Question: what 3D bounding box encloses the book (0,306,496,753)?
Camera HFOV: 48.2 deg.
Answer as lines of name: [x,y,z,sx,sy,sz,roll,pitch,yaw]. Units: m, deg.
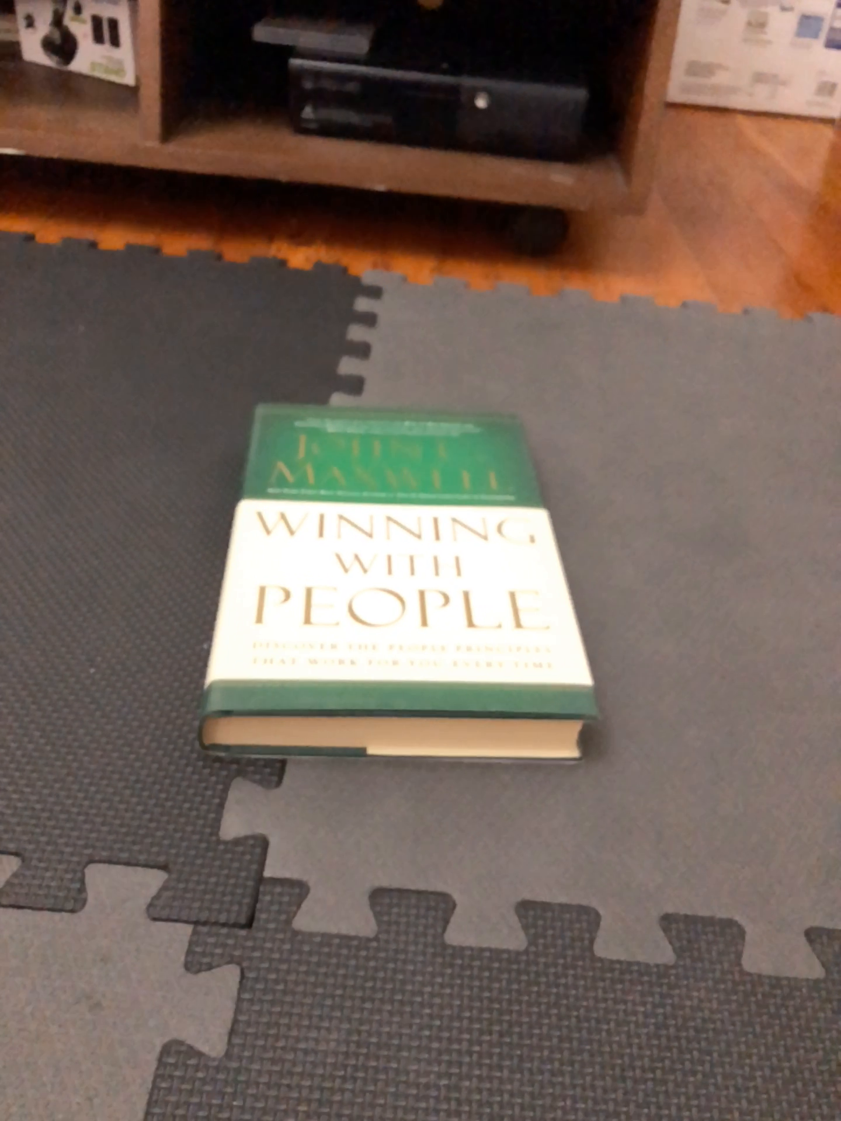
book: [-0.077,-0.038,0.438,0.200,0.030,0.292,3,38,-3]
